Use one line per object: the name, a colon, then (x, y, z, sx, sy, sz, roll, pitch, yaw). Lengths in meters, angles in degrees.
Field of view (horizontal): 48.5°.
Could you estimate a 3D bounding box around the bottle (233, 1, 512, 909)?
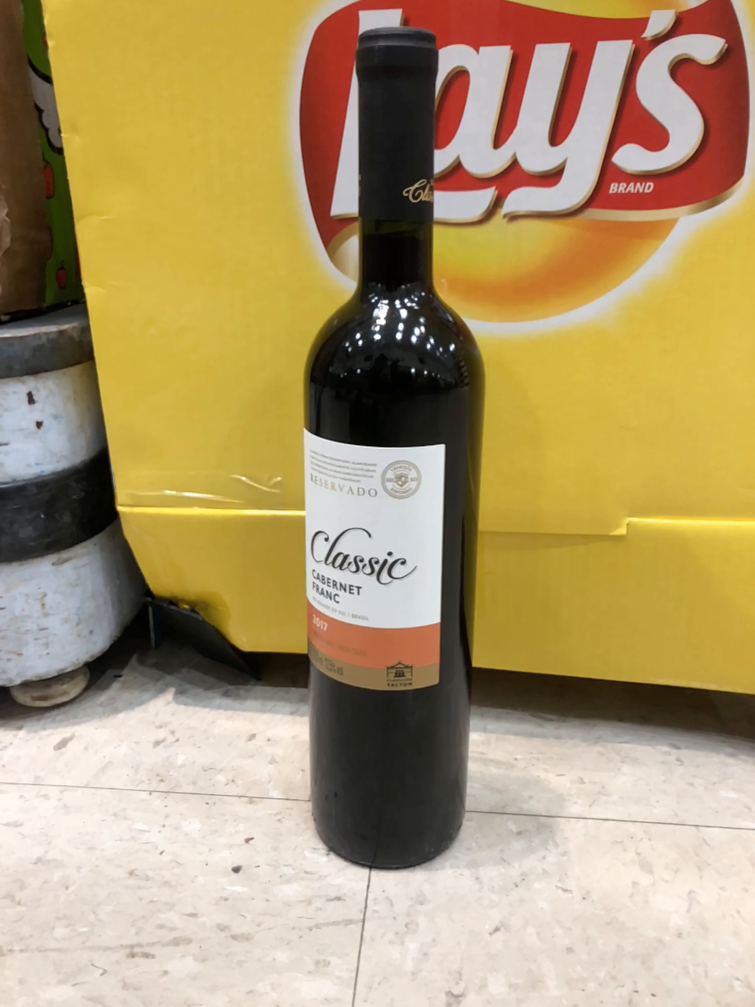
bottle: (0.001, -0.003, 0.325, 0.070, 0.318, 0.060, 10, 22, 28)
